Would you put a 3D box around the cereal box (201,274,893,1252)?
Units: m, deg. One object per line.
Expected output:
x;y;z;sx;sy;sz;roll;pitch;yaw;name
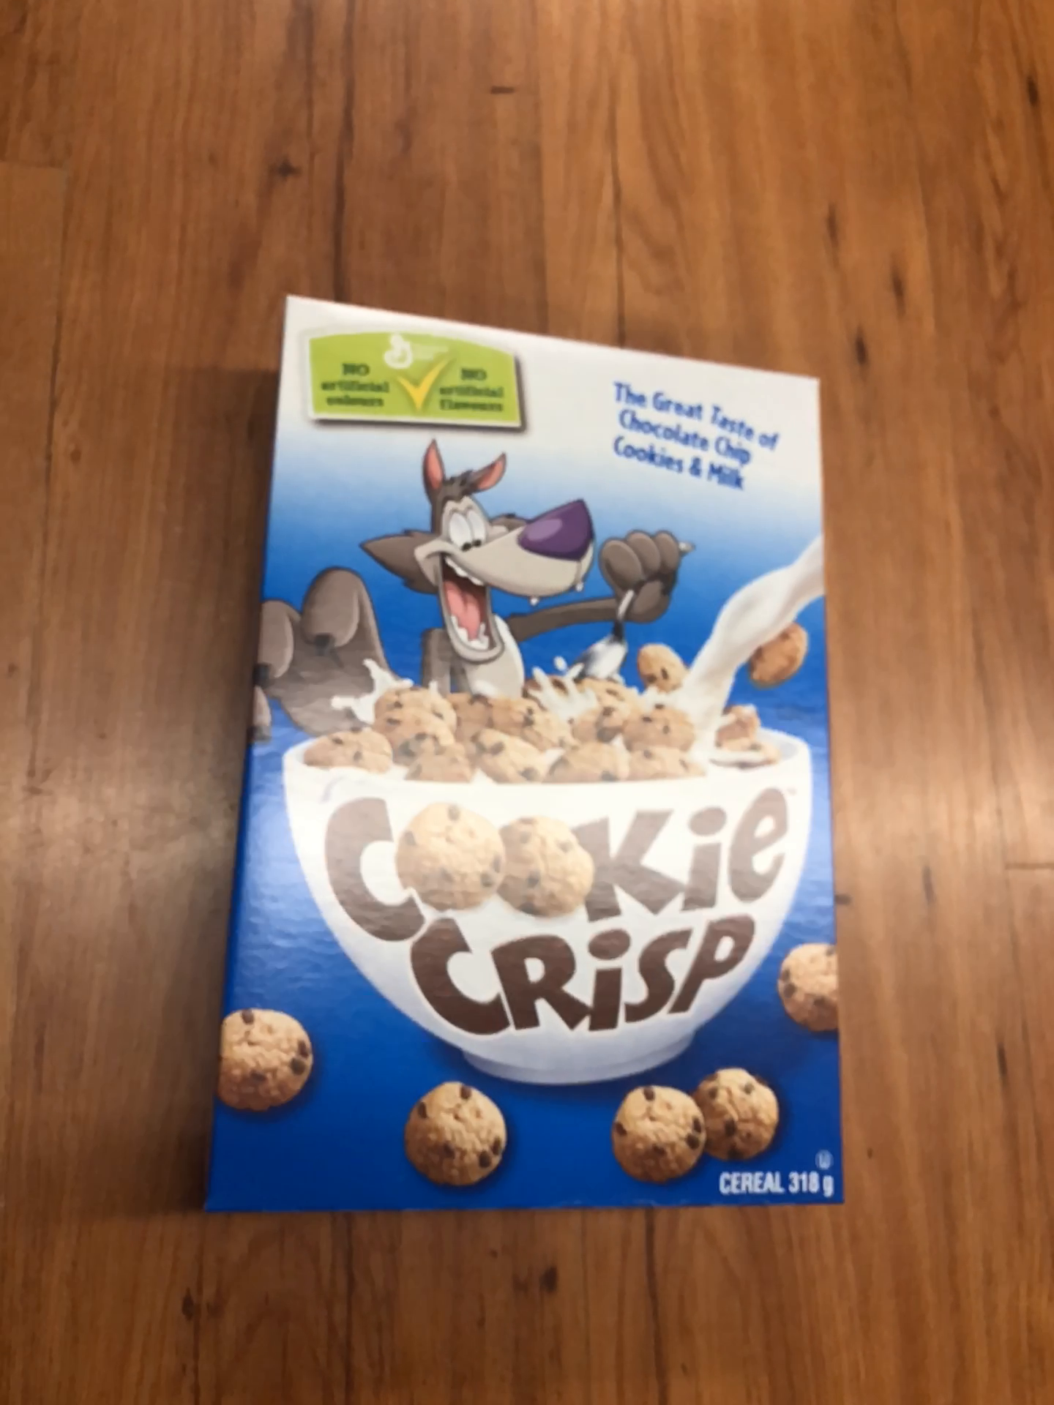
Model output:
0.010;0.019;0.385;0.200;0.060;0.280;5;78;-14;cereal box
